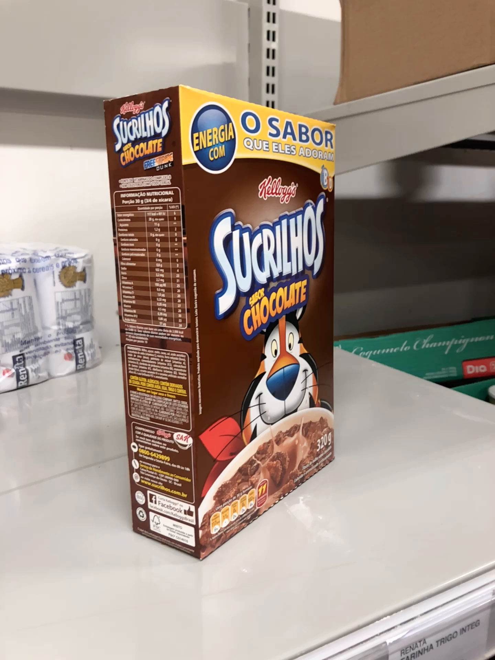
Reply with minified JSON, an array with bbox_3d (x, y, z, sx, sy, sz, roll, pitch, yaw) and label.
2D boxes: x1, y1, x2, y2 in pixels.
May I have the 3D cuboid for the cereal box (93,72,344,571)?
[{"bbox_3d":[-0.004,-0.013,0.384,0.070,0.269,0.181,6,13,34],"label":"cereal box"}]
